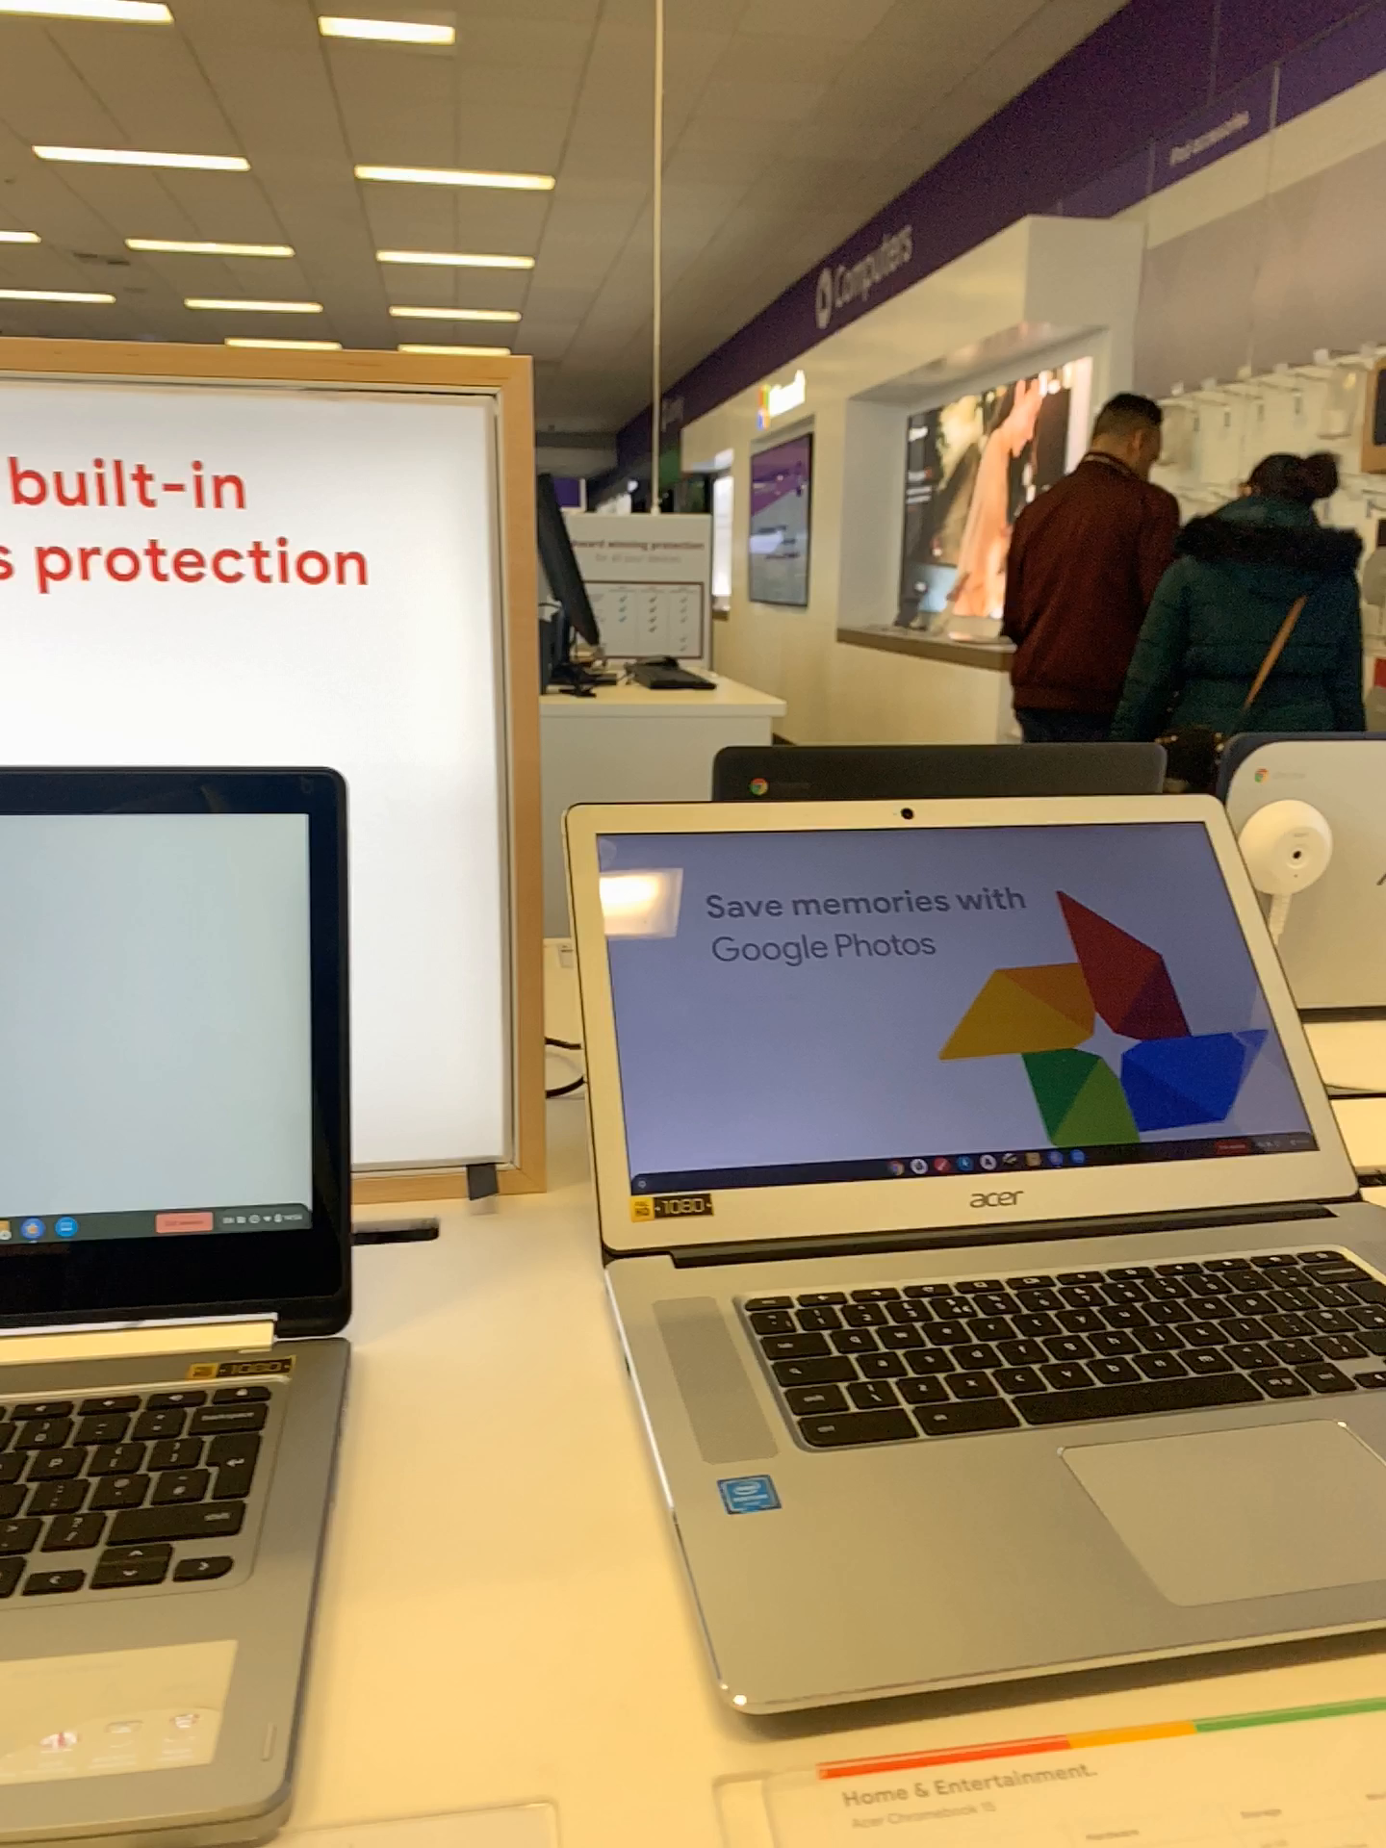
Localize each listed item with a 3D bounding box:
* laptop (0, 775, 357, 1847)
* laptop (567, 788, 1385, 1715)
[{"bbox_3d":[-0.273,0.082,0.435,0.307,0.216,0.278,-1,13,-10],"label":"laptop"},{"bbox_3d":[0.156,0.066,0.603,0.376,0.175,0.427,-2,14,-11],"label":"laptop"}]
